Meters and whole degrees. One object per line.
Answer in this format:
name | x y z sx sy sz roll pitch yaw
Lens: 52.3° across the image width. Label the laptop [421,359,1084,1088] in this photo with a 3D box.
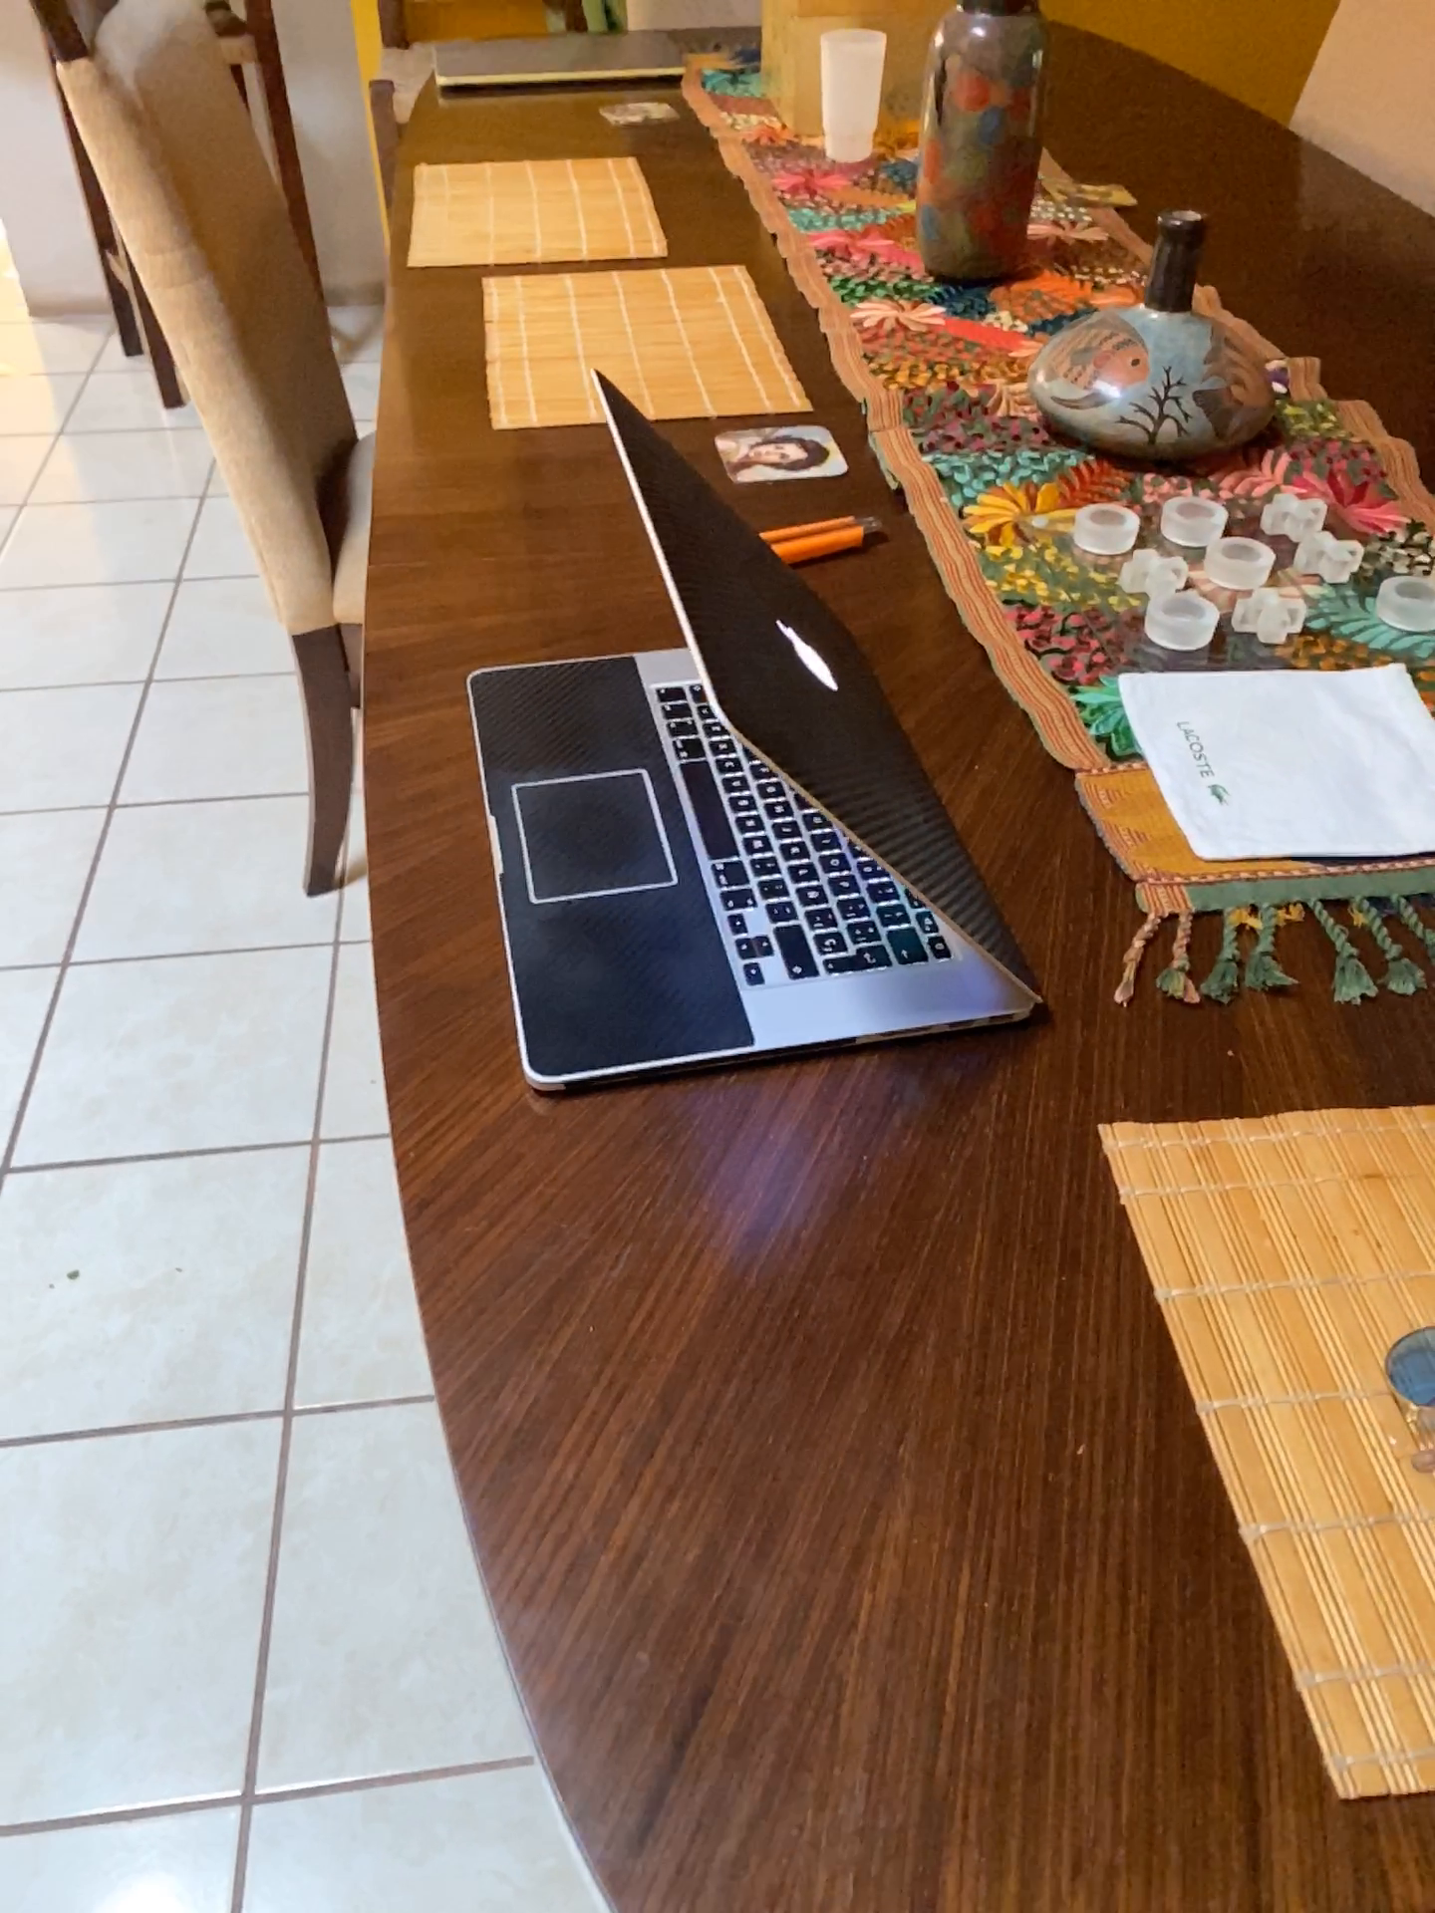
laptop | -0.010 -0.140 0.741 0.235 0.181 0.356 -7 43 -9
